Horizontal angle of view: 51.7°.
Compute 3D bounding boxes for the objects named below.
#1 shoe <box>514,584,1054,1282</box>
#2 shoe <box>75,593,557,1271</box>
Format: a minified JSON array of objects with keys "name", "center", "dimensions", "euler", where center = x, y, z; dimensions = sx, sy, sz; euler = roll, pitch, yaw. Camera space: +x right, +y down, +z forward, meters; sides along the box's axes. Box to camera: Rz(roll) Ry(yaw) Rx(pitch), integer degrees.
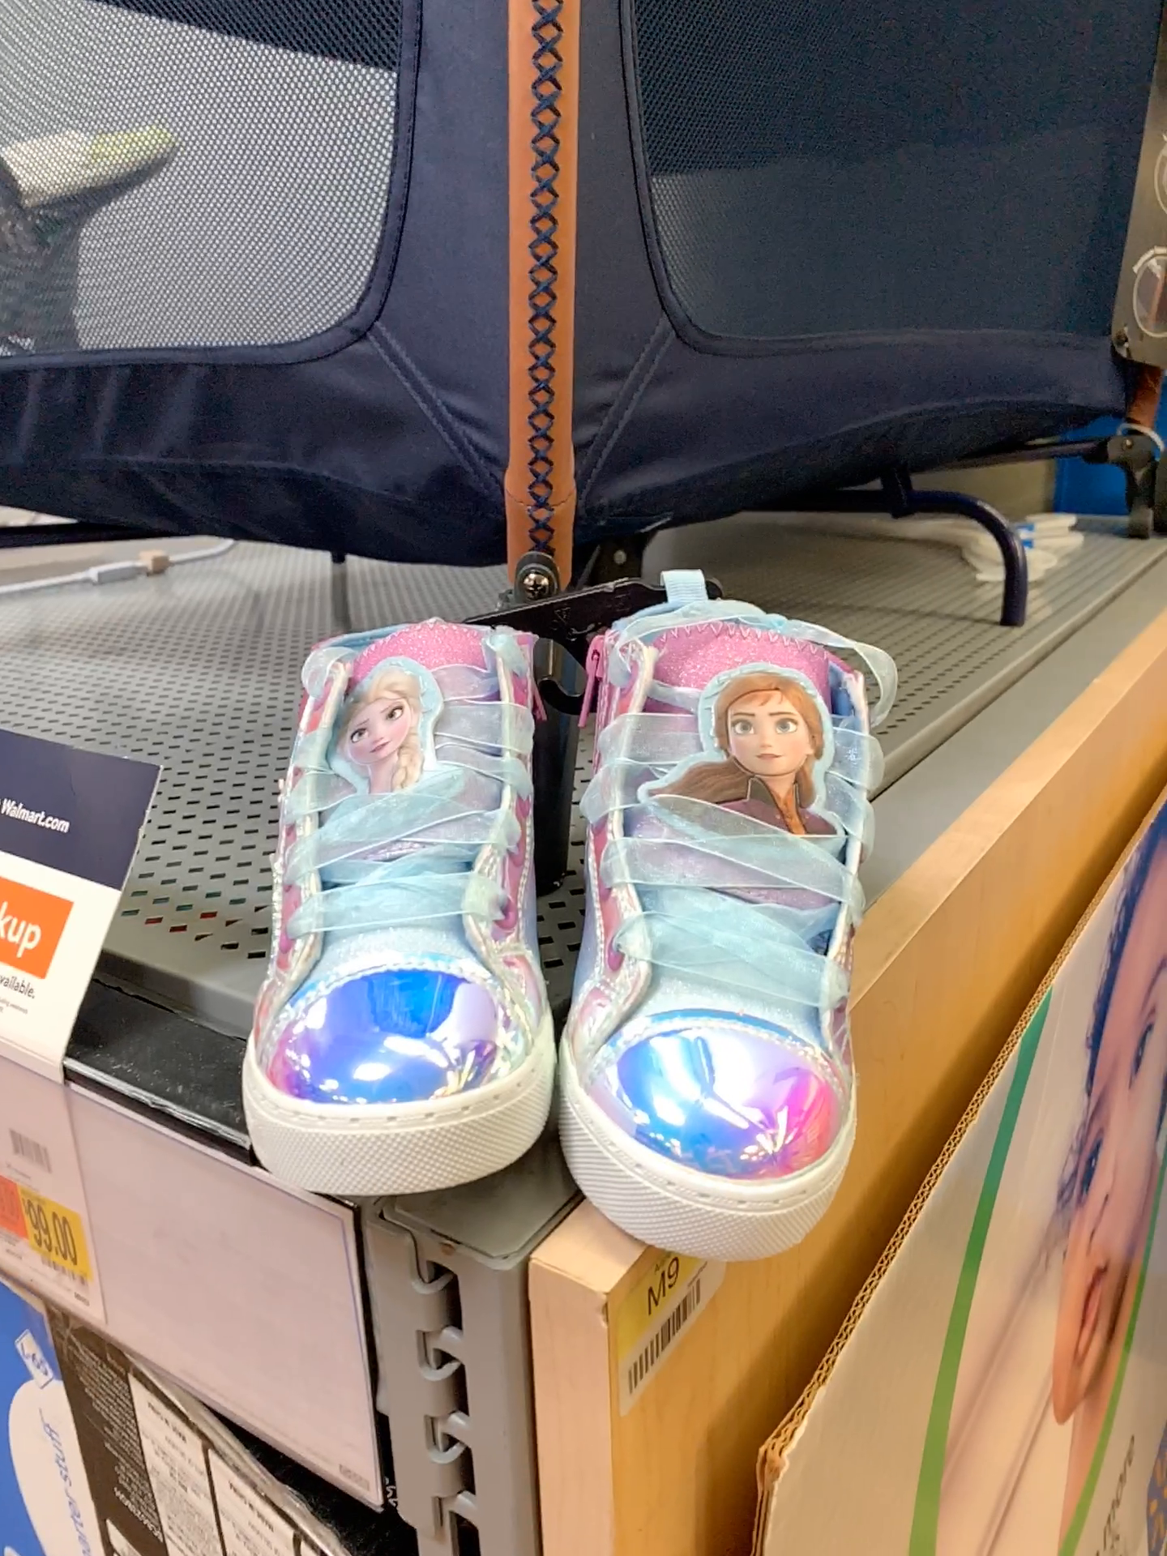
[{"name":"shoe","center":[0.035,0.020,0.314],"dimensions":[0.089,0.102,0.183],"euler":[4,19,-1]},{"name":"shoe","center":[-0.050,0.021,0.316],"dimensions":[0.079,0.102,0.183],"euler":[-2,19,0]}]
